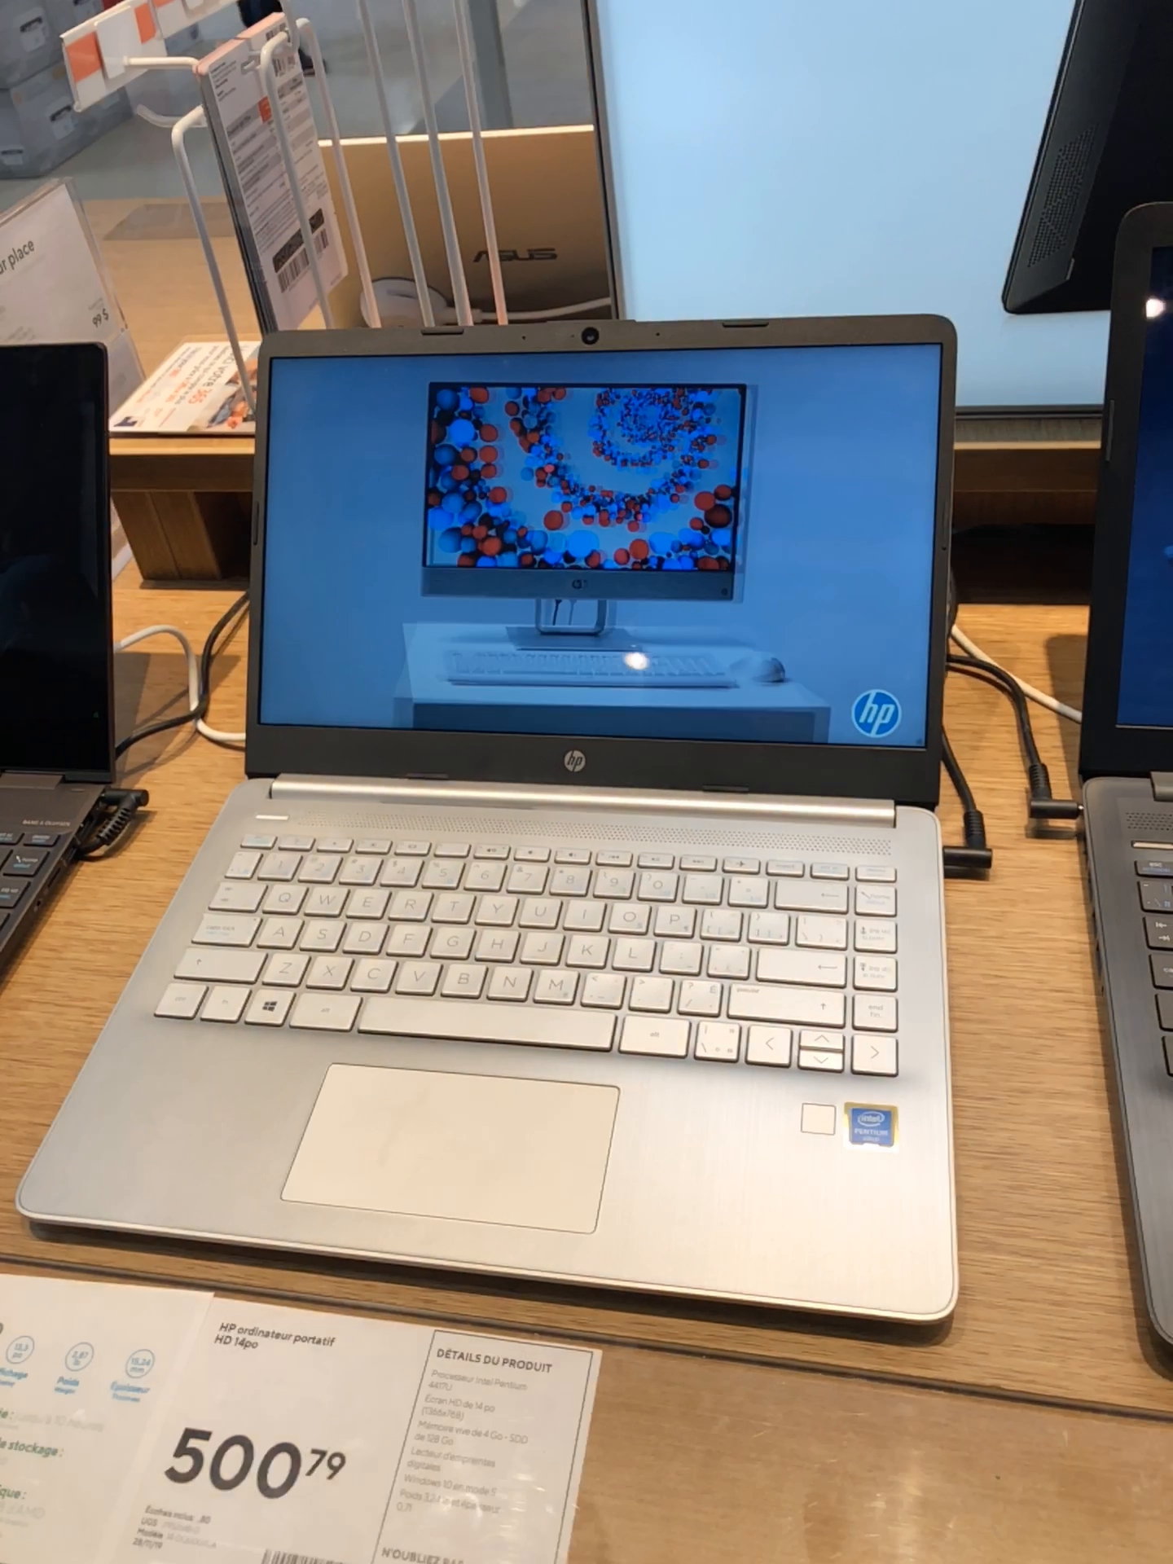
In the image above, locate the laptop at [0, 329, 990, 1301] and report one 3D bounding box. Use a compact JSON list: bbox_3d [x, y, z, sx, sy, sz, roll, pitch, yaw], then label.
[{"bbox_3d":[-0.017,-0.018,0.509,0.308,0.167,0.347,1,41,14],"label":"laptop"}]
